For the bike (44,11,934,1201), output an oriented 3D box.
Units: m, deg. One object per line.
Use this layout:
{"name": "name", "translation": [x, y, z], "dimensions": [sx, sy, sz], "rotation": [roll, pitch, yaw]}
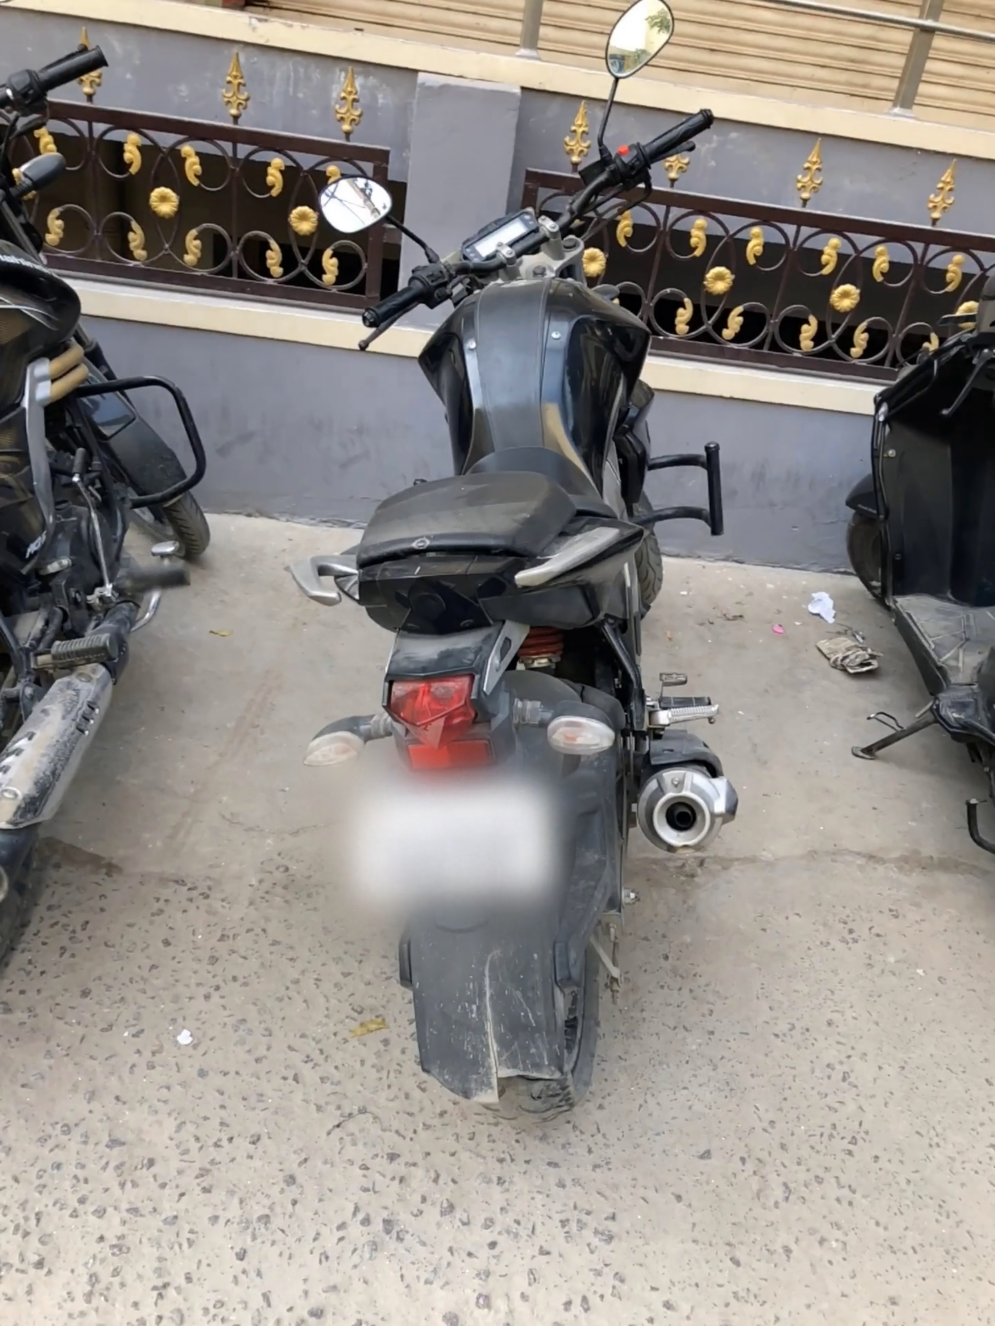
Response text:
{"name": "bike", "translation": [-0.090, -0.341, 1.882], "dimensions": [0.692, 1.197, 1.767], "rotation": [7, 32, -3]}
